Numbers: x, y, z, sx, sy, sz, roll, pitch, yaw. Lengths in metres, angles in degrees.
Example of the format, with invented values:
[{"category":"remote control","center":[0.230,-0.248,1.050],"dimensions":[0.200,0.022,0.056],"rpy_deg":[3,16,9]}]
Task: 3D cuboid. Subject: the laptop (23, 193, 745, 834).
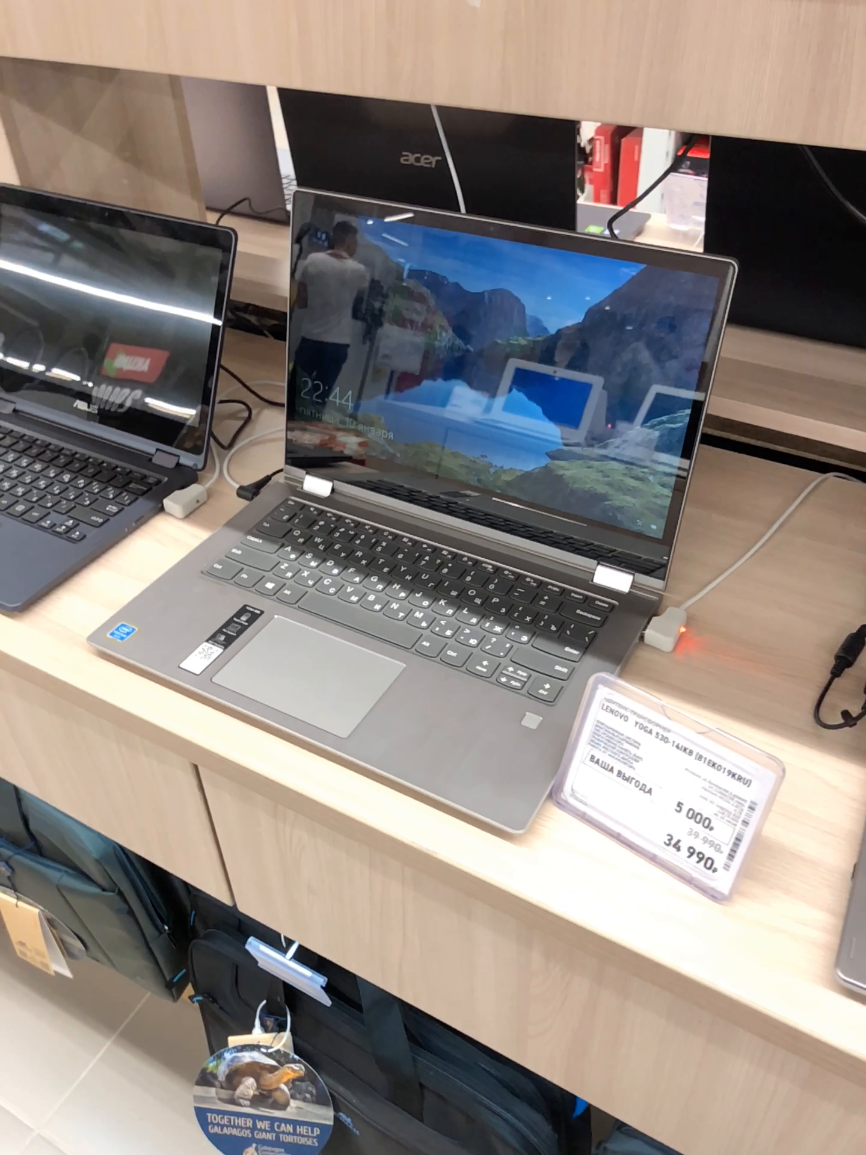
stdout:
[{"category":"laptop","center":[-0.012,-0.073,0.601],"dimensions":[0.311,0.205,0.288],"rpy_deg":[18,42,22]}]
